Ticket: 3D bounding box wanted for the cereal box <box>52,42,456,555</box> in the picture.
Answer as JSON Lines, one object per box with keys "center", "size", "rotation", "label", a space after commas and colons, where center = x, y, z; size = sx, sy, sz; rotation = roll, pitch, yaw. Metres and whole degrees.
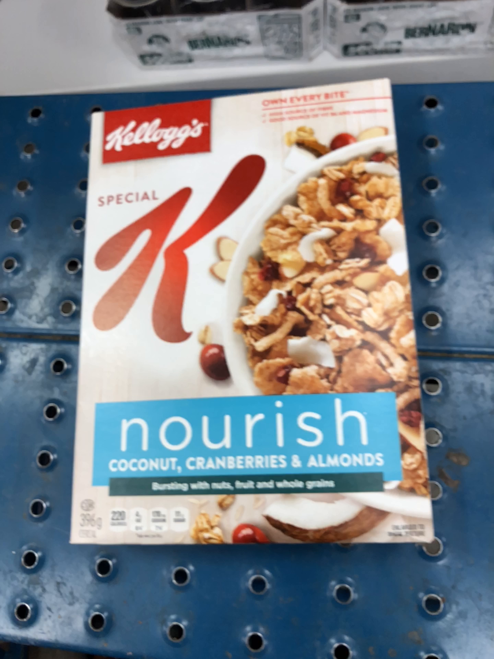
{"center": [-0.003, -0.021, 0.343], "size": [0.210, 0.050, 0.290], "rotation": [-4, 77, 8], "label": "cereal box"}
